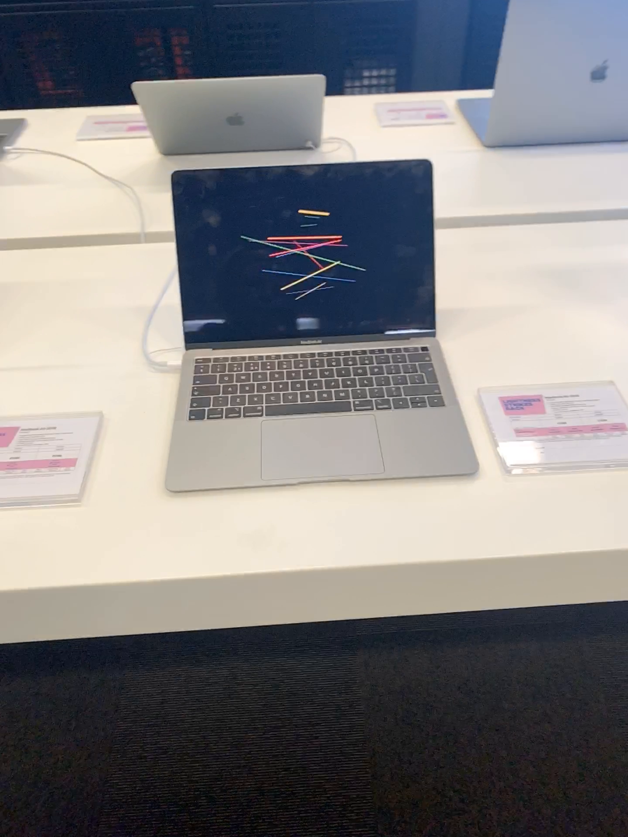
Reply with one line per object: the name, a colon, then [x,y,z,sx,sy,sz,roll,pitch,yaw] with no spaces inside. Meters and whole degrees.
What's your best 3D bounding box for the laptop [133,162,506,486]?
laptop: [-0.006,-0.116,0.673,0.289,0.160,0.331,-3,44,-2]
